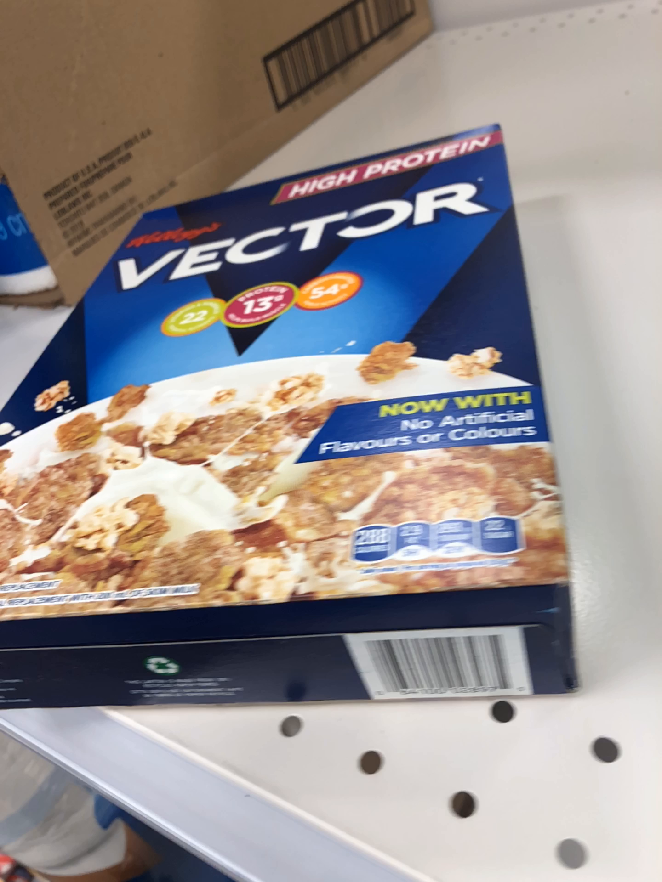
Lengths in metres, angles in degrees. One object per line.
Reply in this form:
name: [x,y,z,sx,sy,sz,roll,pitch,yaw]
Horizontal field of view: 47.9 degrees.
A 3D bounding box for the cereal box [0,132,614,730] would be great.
cereal box: [-0.021,-0.032,0.304,0.210,0.050,0.291,-7,37,15]
